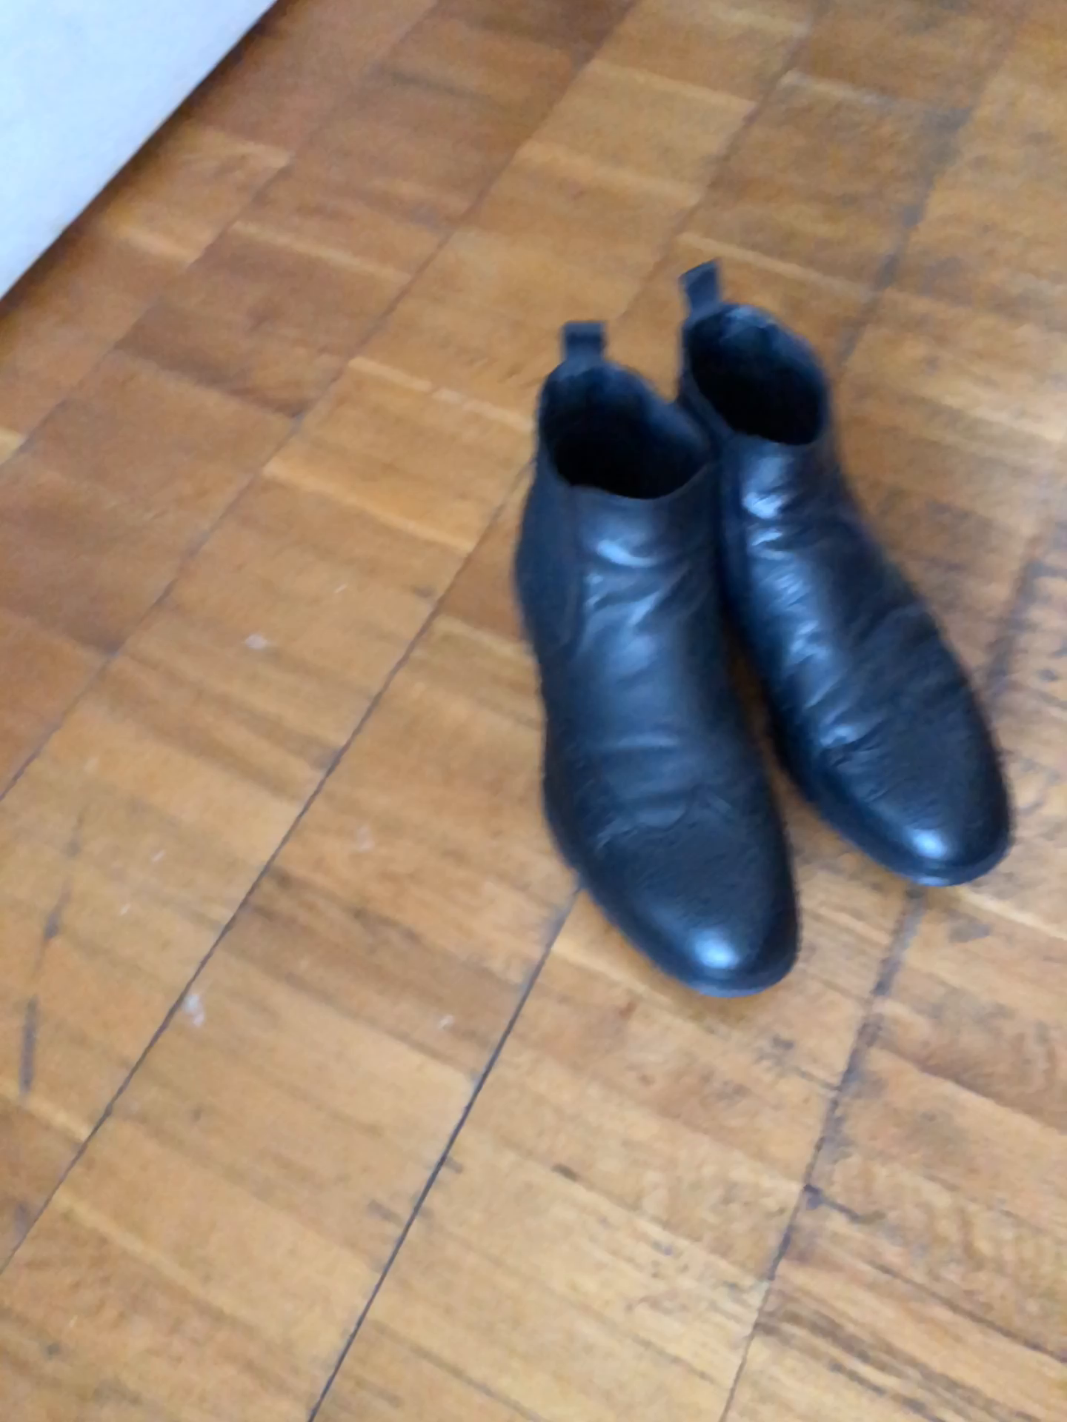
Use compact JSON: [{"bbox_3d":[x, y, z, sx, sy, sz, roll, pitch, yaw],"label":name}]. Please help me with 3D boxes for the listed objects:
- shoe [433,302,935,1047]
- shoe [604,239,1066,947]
[{"bbox_3d":[0.049,-0.024,0.542,0.110,0.139,0.301,-15,60,-7],"label":"shoe"},{"bbox_3d":[0.151,-0.063,0.564,0.110,0.139,0.301,-22,61,-11],"label":"shoe"}]
